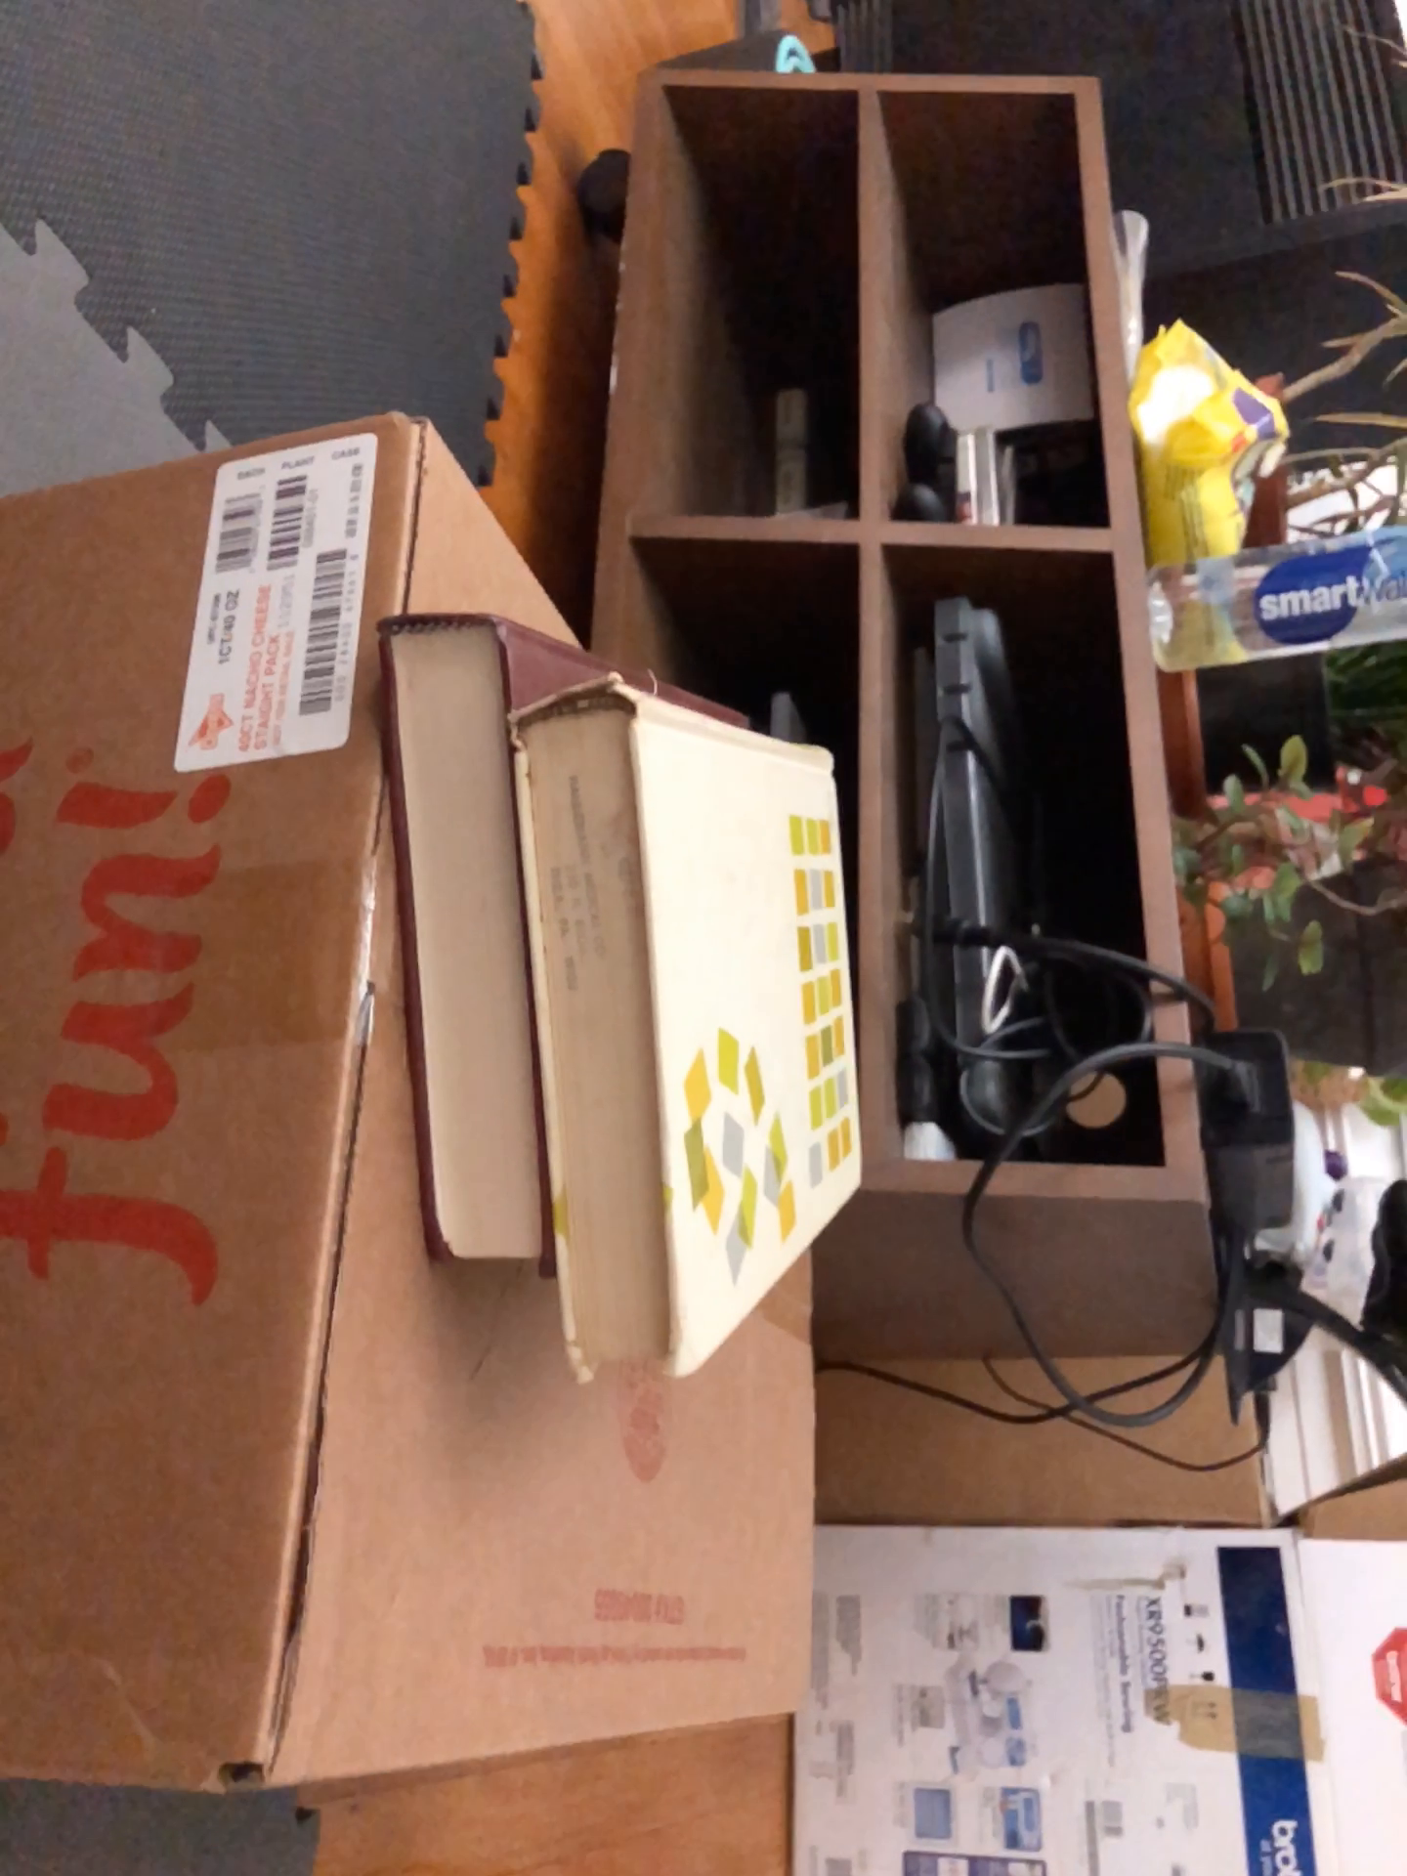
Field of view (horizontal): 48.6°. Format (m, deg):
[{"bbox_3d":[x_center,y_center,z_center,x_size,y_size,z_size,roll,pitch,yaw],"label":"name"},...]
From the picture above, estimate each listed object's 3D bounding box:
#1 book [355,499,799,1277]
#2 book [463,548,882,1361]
[{"bbox_3d":[-0.023,-0.012,0.488,0.251,0.040,0.180,-2,86,-75],"label":"book"},{"bbox_3d":[0.007,-0.002,0.471,0.251,0.040,0.180,-13,97,-75],"label":"book"}]
